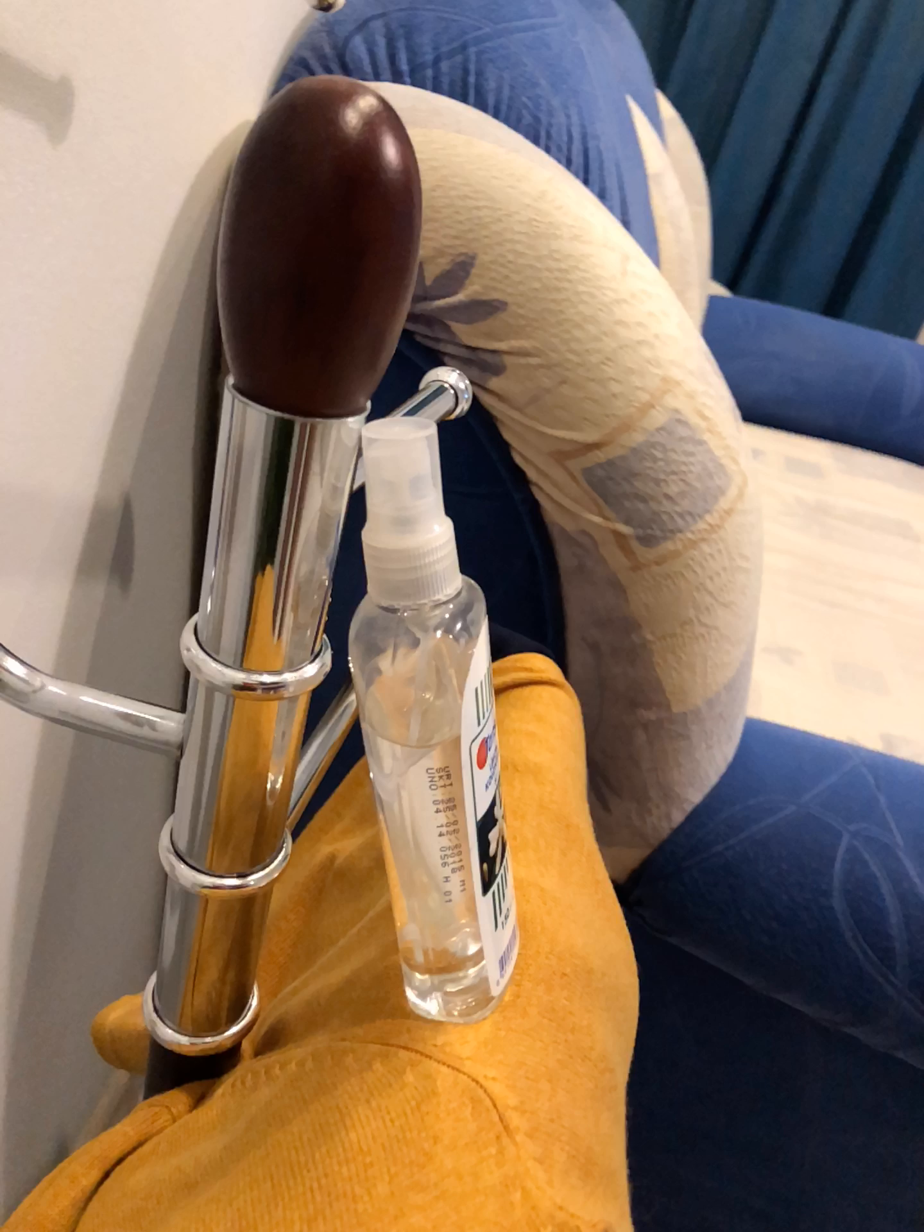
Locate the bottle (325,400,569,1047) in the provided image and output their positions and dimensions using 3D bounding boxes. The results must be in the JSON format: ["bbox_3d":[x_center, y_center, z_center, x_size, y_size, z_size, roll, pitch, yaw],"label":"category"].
[{"bbox_3d":[0.002,0.030,0.259,0.030,0.157,0.051,2,28,18],"label":"bottle"}]
